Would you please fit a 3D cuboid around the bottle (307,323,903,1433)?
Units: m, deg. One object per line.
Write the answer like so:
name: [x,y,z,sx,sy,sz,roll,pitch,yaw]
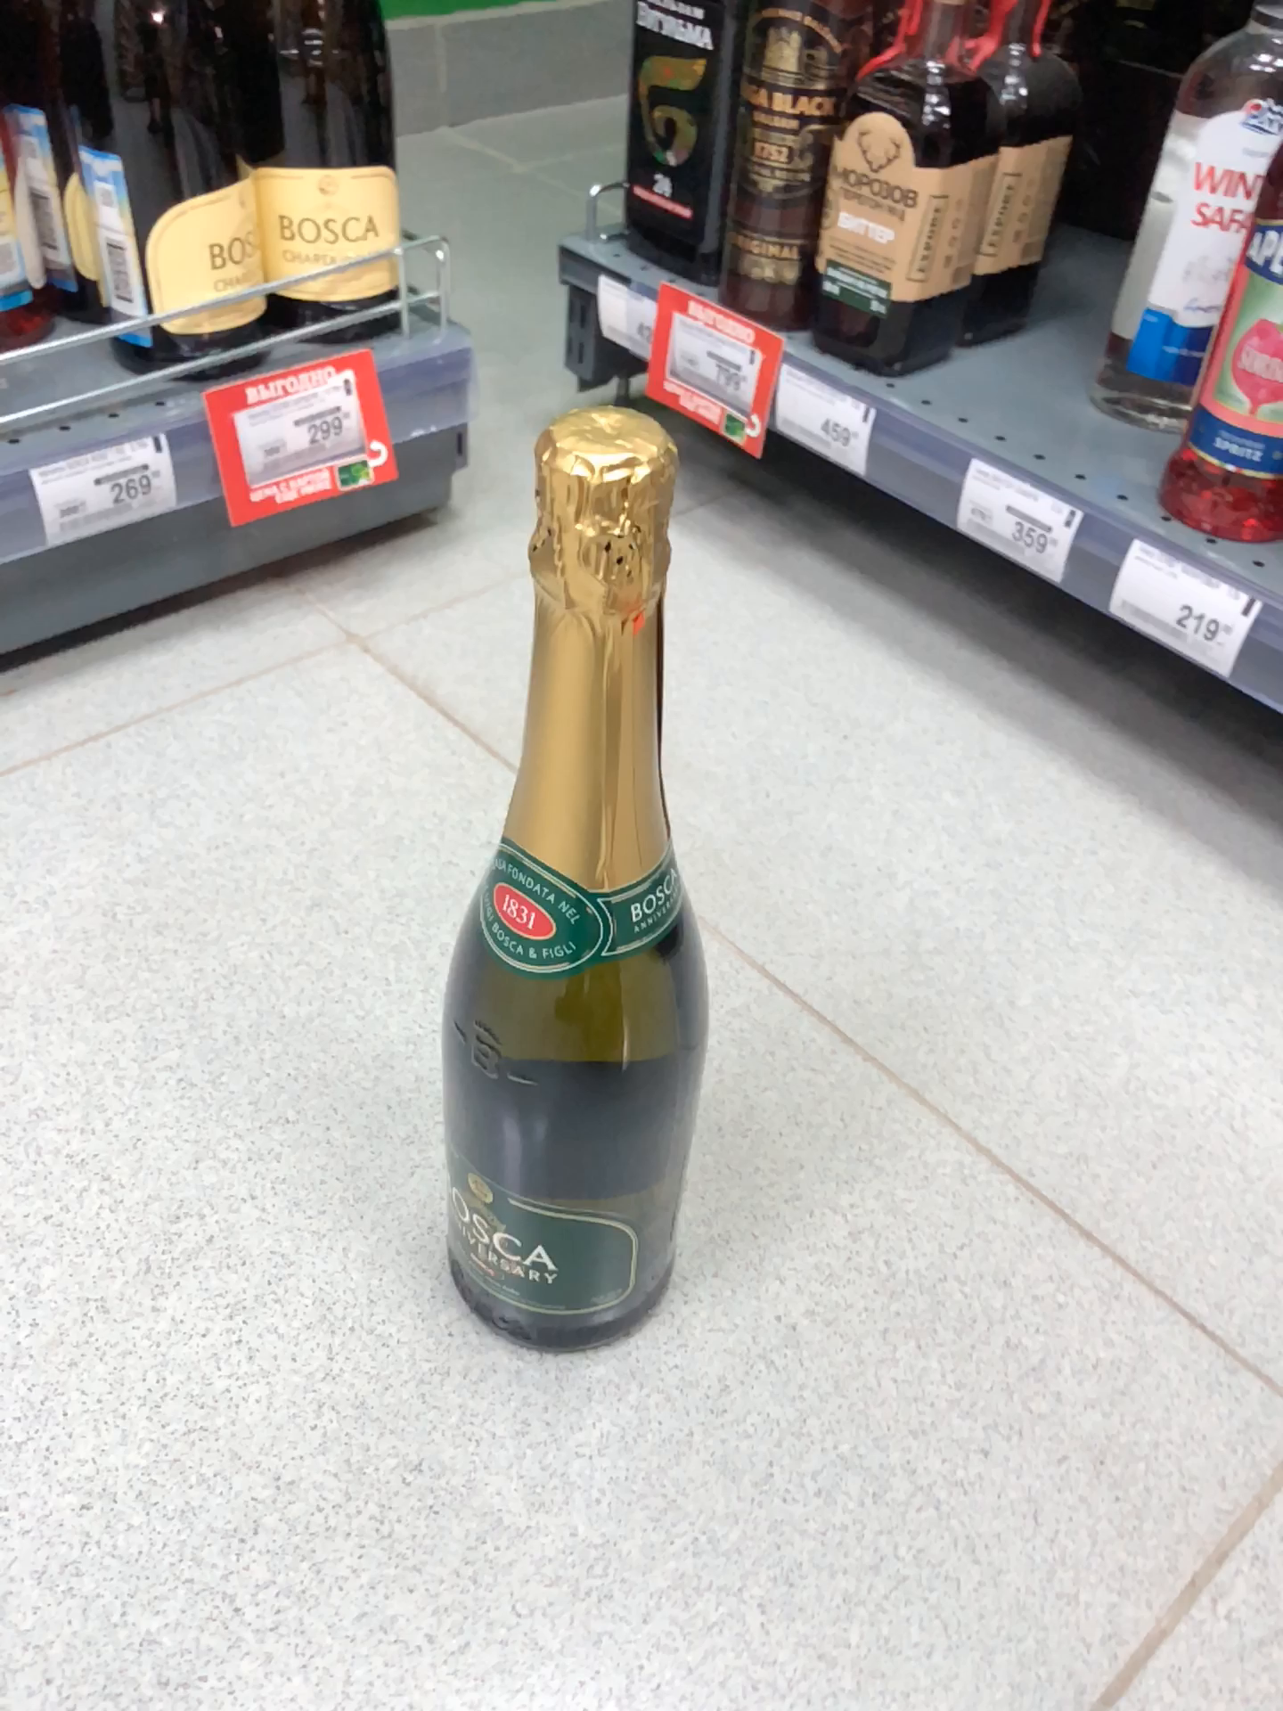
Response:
bottle: [-0.019,0.028,0.405,0.090,0.314,0.090,3,41,-3]
